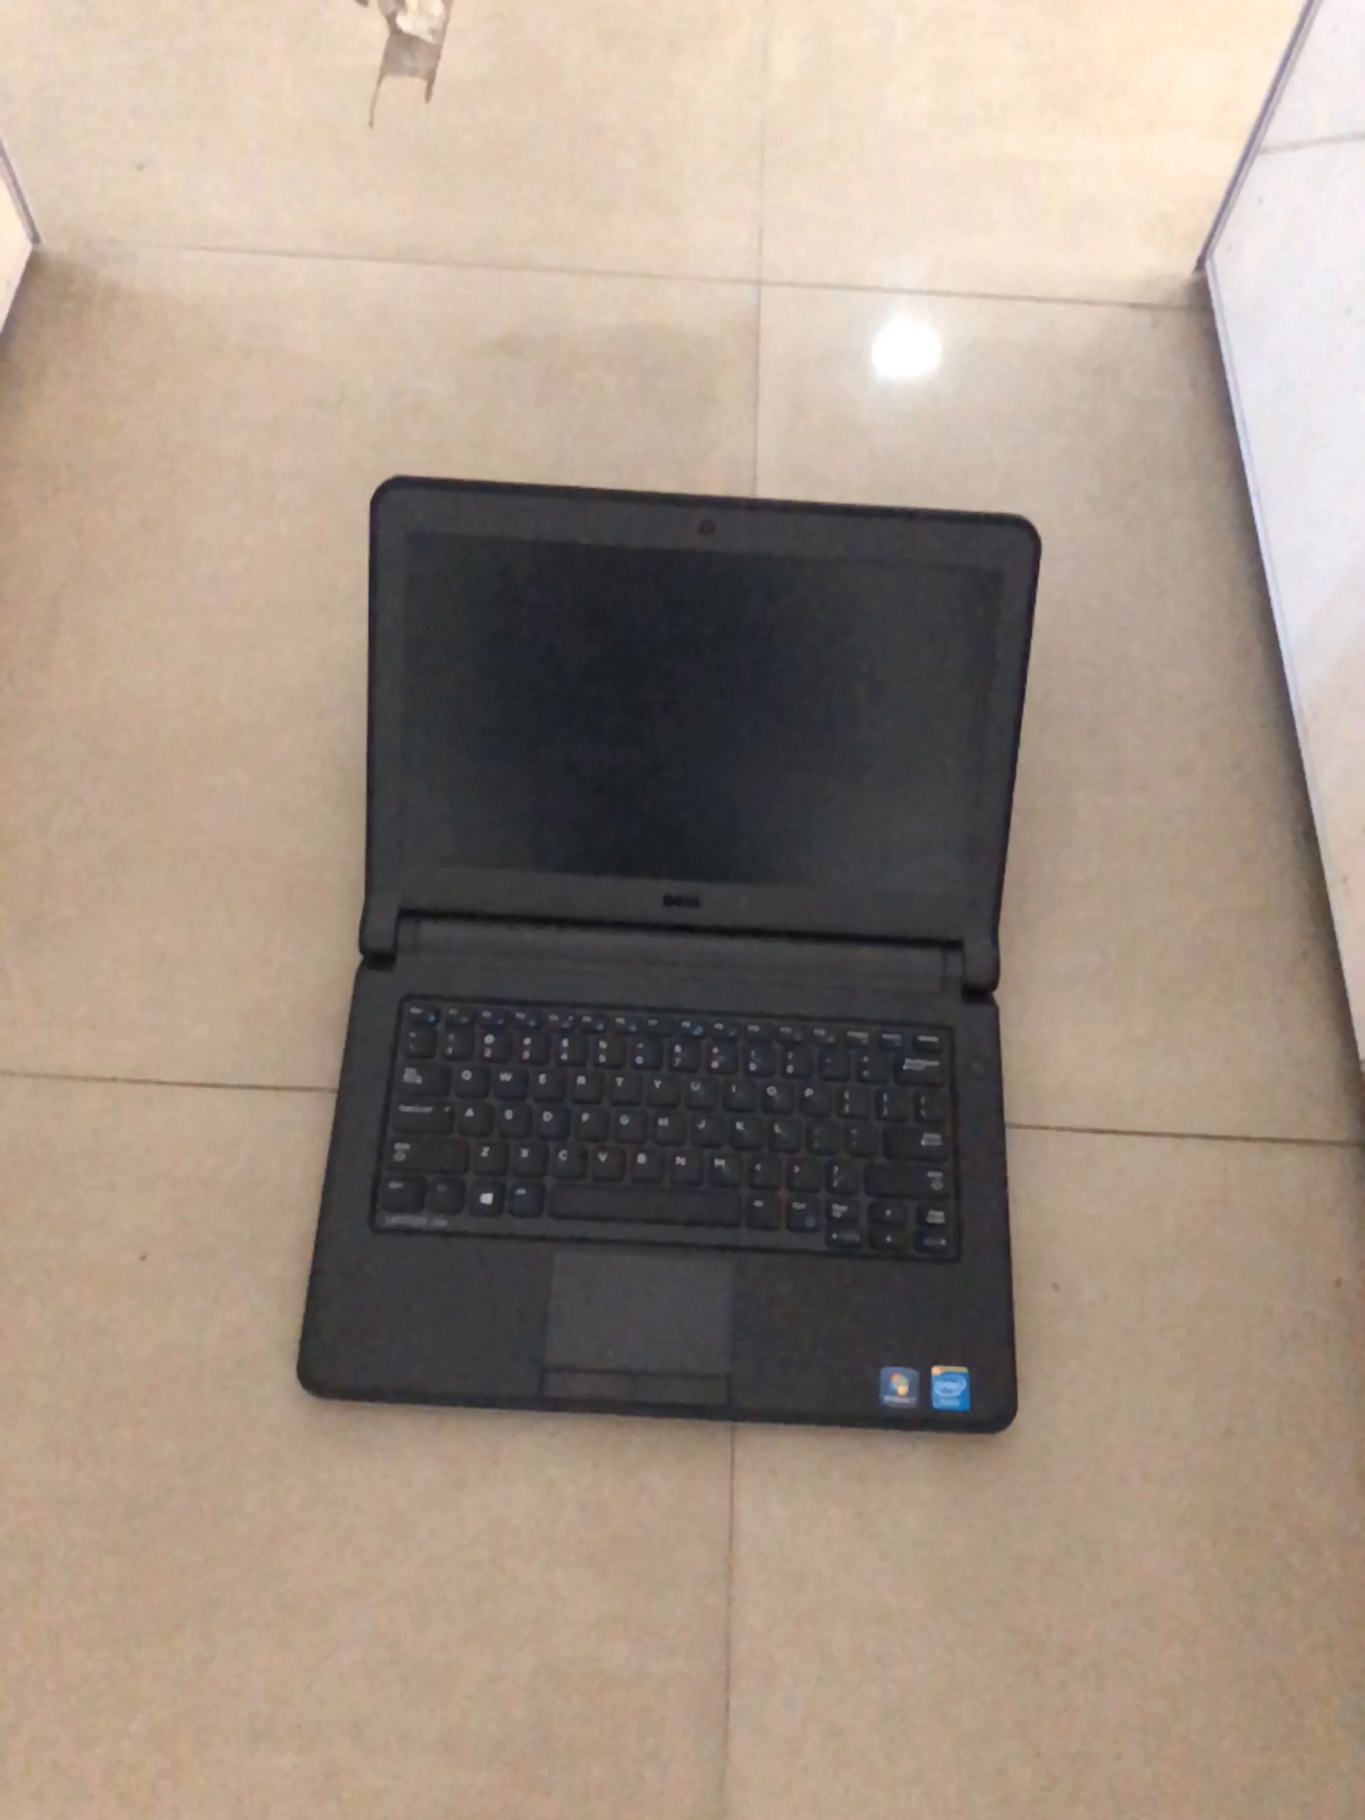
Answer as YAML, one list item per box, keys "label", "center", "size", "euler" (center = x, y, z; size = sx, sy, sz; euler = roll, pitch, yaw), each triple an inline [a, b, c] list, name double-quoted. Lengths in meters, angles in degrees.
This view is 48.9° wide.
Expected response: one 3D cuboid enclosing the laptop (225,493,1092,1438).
- label: "laptop"
  center: [-0.001, 0.020, 0.698]
  size: [0.312, 0.154, 0.393]
  euler: [3, 63, -1]
